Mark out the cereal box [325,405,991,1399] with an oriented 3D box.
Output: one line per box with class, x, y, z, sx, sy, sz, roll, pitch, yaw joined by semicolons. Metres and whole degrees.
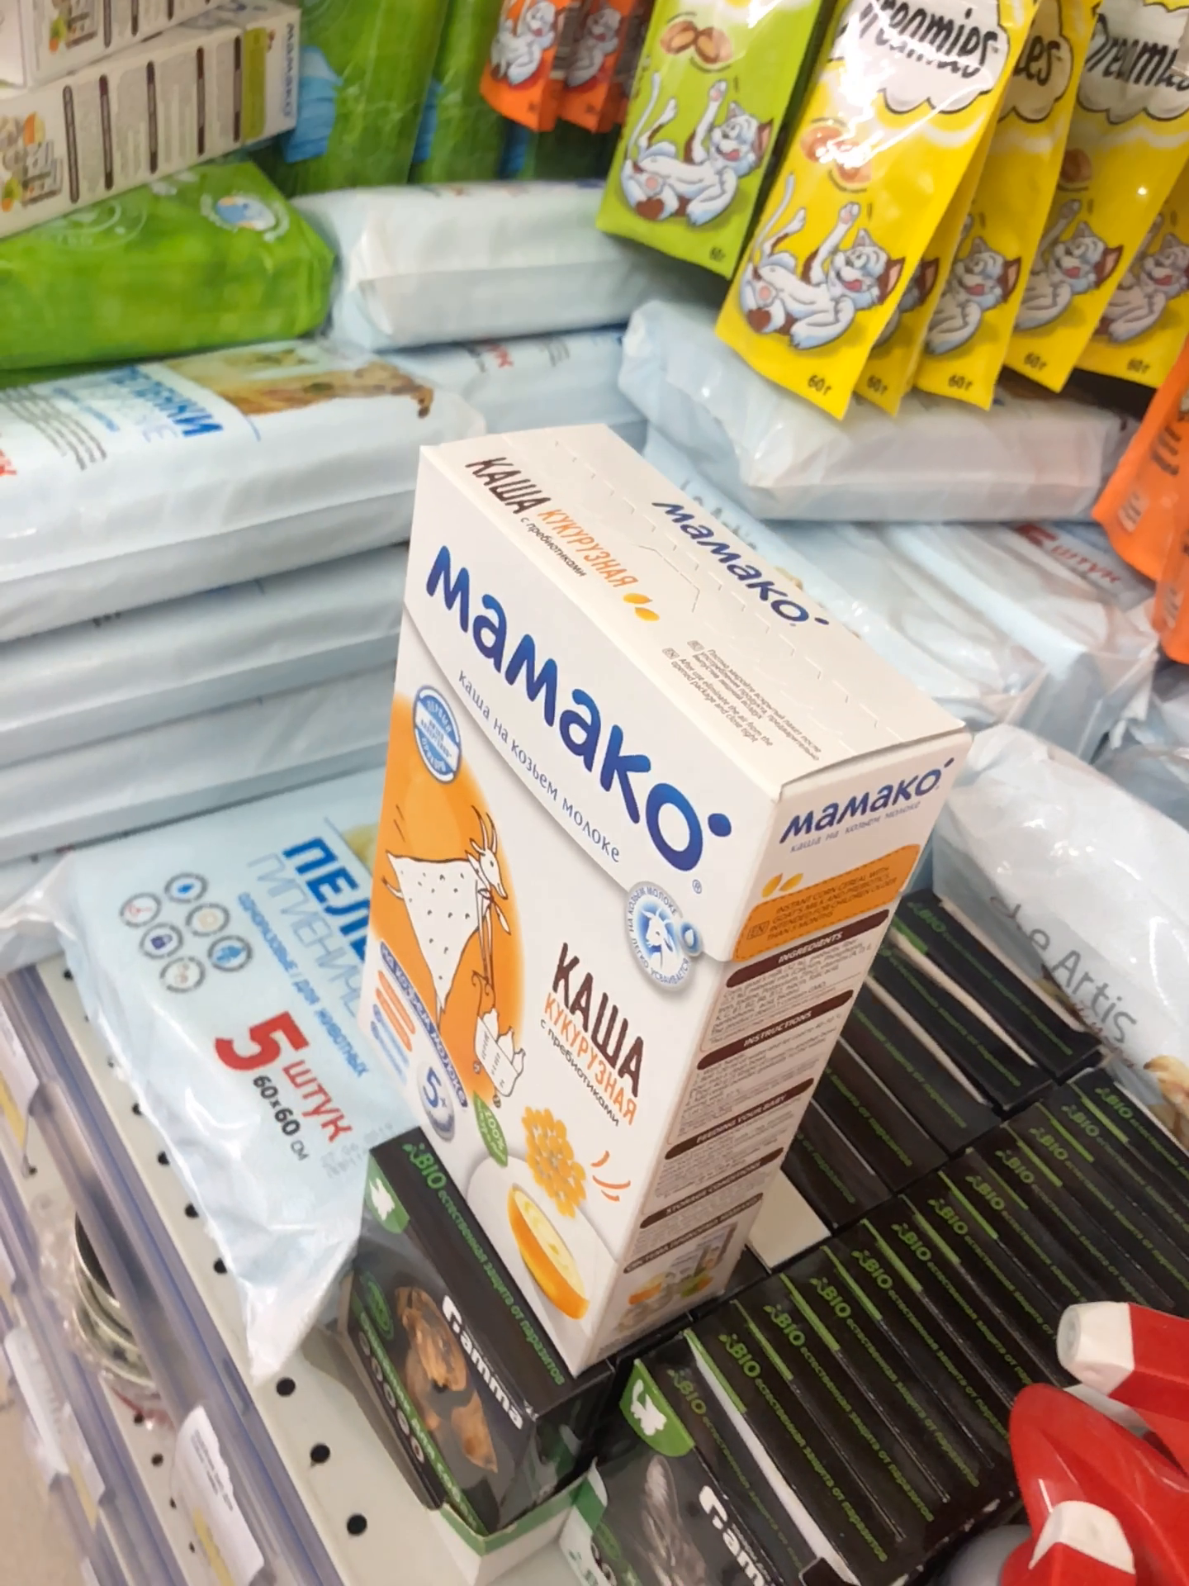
cereal box;-0.007;0.031;0.328;0.050;0.199;0.141;-16;48;-32
